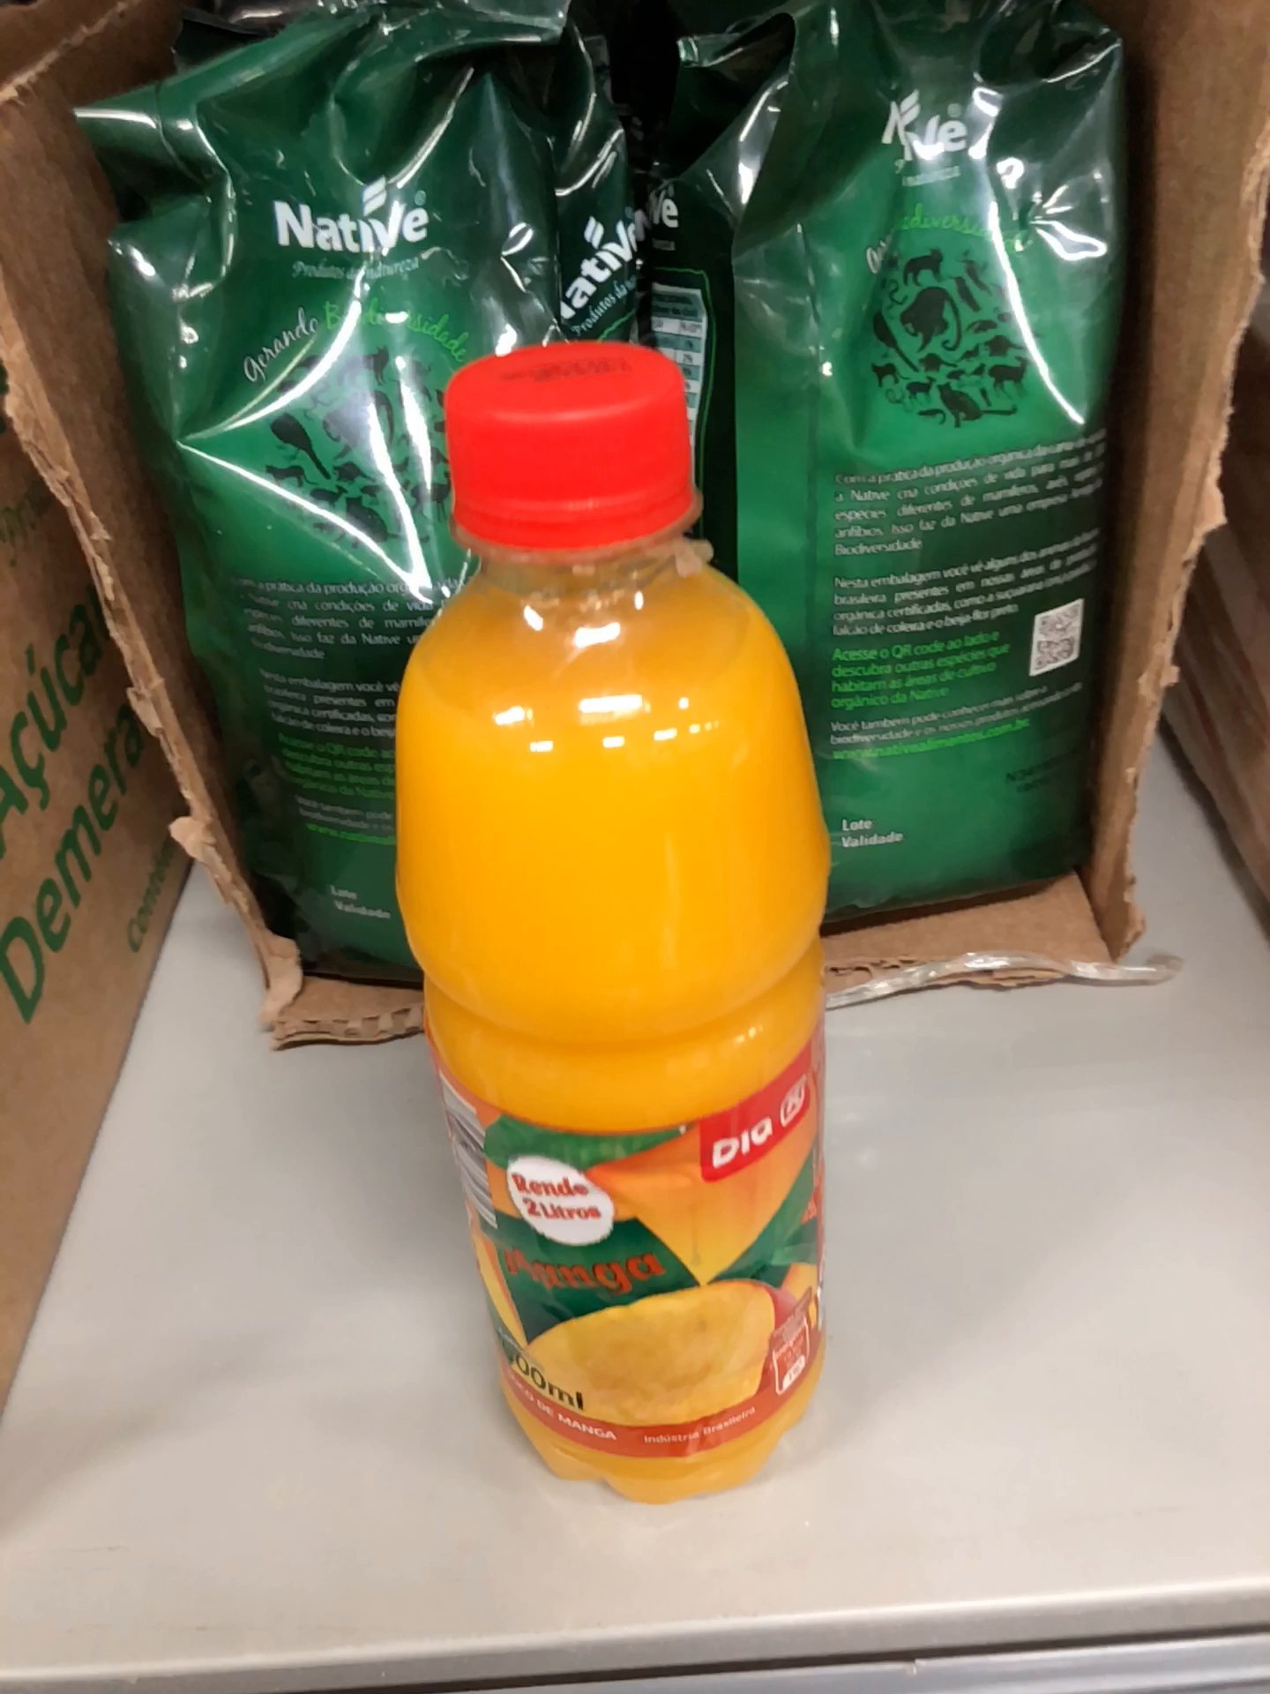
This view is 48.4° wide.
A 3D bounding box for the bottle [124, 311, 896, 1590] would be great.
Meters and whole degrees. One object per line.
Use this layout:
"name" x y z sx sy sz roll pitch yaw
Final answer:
"bottle" -0.003 0.028 0.222 0.070 0.199 0.060 9 40 20
